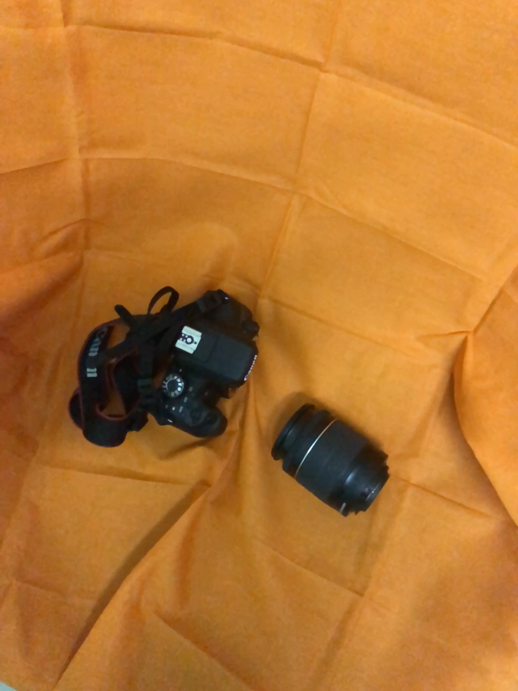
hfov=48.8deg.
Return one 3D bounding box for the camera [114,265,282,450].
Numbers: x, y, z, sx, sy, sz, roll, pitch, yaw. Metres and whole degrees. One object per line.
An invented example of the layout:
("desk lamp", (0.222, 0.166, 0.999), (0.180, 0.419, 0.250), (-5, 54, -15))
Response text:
("camera", (-0.050, 0.014, 0.519), (0.092, 0.072, 0.133), (24, 82, 9))
